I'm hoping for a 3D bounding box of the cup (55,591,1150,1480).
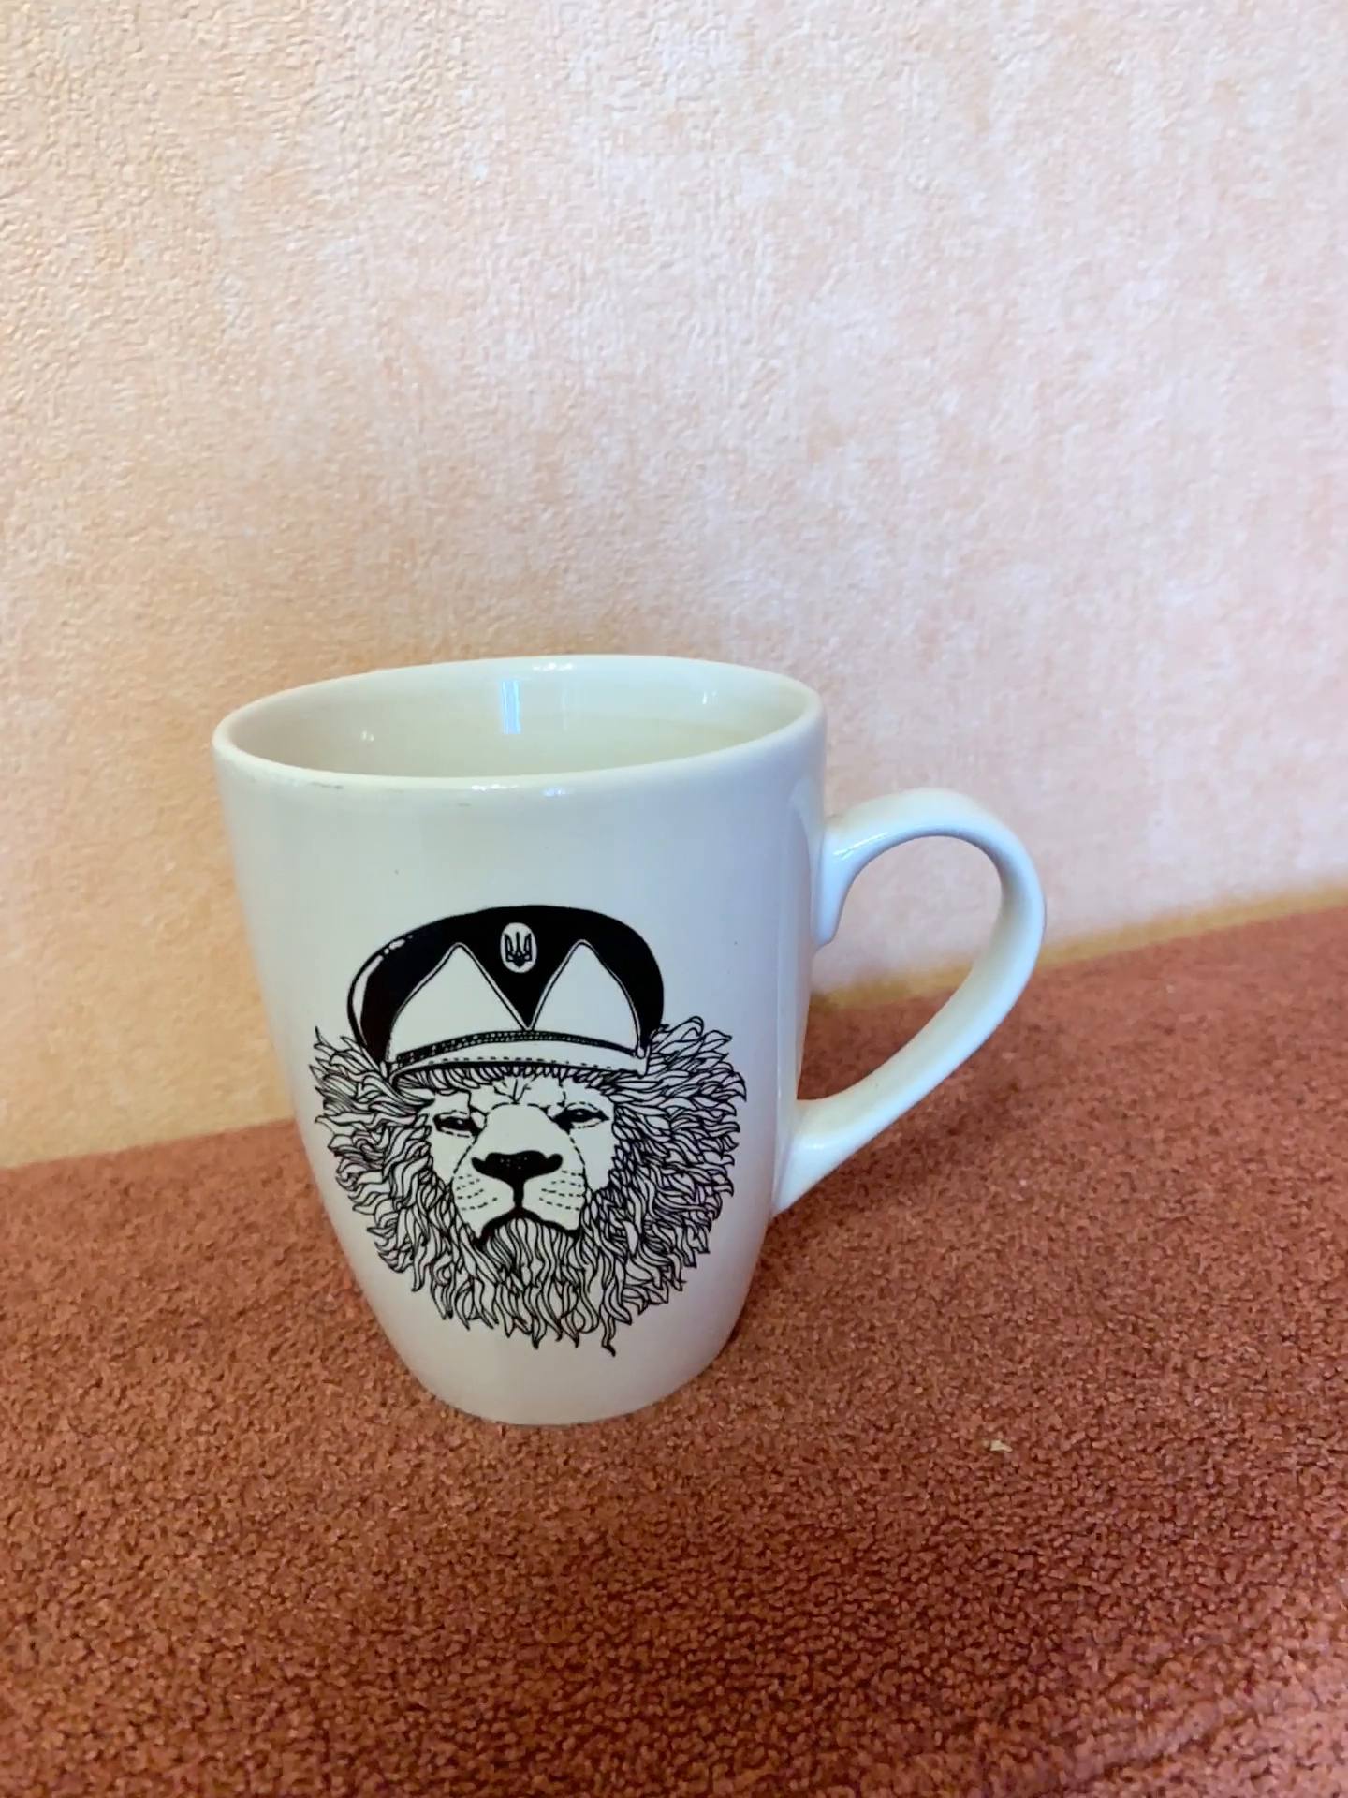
[{"bbox_3d":[-0.007,0.012,0.228,0.125,0.095,0.106,-4,22,-1],"label":"cup"}]
